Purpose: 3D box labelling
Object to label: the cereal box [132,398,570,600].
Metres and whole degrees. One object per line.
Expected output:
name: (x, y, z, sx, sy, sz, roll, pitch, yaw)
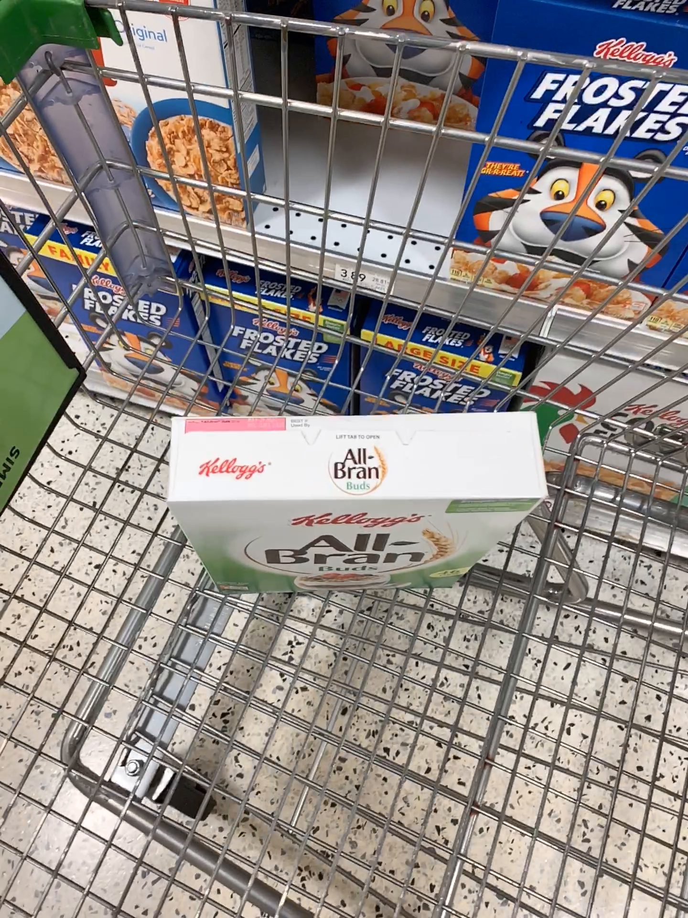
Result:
cereal box: (0.000, 0.045, 0.472, 0.200, 0.299, 0.050, -1, 70, -2)
